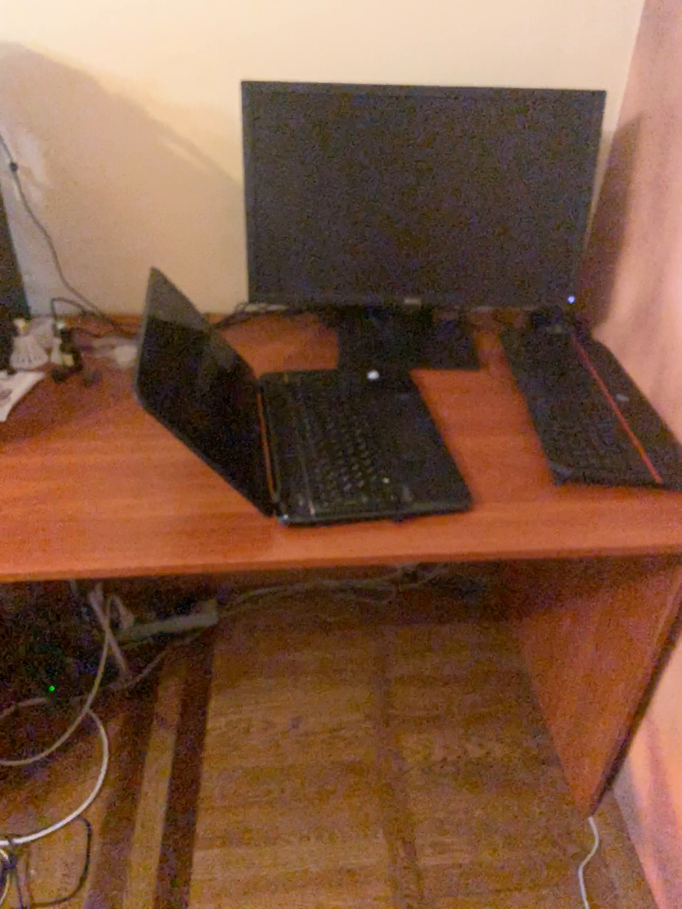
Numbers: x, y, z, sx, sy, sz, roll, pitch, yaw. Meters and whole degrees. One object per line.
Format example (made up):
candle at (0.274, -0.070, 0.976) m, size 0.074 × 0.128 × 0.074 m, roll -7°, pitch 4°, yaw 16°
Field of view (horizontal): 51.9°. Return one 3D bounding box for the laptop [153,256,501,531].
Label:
laptop at (-0.042, -0.105, 0.935) m, size 0.368 × 0.181 × 0.368 m, roll -5°, pitch 35°, yaw -7°
